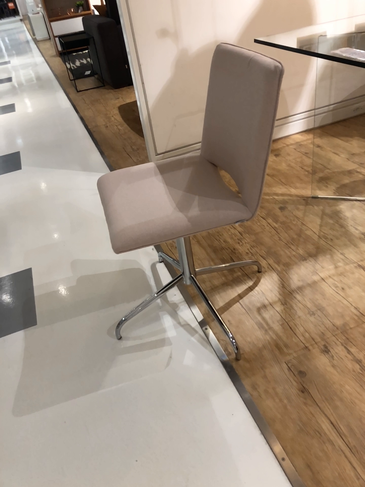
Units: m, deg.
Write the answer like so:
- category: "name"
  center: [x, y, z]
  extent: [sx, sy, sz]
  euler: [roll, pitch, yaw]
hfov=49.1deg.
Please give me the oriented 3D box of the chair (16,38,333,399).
- category: "chair"
  center: [-0.036, -0.123, 1.226]
  extent: [0.630, 0.744, 0.655]
  euler: [-16, 35, -9]
